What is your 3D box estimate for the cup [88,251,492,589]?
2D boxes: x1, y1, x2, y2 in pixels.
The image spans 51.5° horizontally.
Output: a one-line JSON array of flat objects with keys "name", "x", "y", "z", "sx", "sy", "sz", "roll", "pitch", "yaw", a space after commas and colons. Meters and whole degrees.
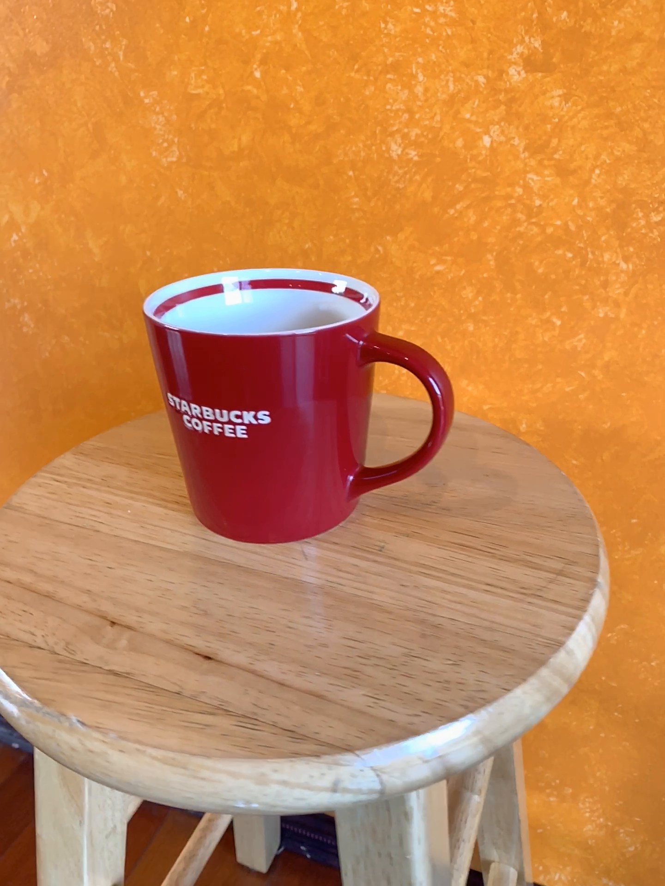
[{"name": "cup", "x": -0.013, "y": -0.021, "z": 0.314, "sx": 0.140, "sy": 0.099, "sz": 0.100, "roll": 11, "pitch": 30, "yaw": 22}]
